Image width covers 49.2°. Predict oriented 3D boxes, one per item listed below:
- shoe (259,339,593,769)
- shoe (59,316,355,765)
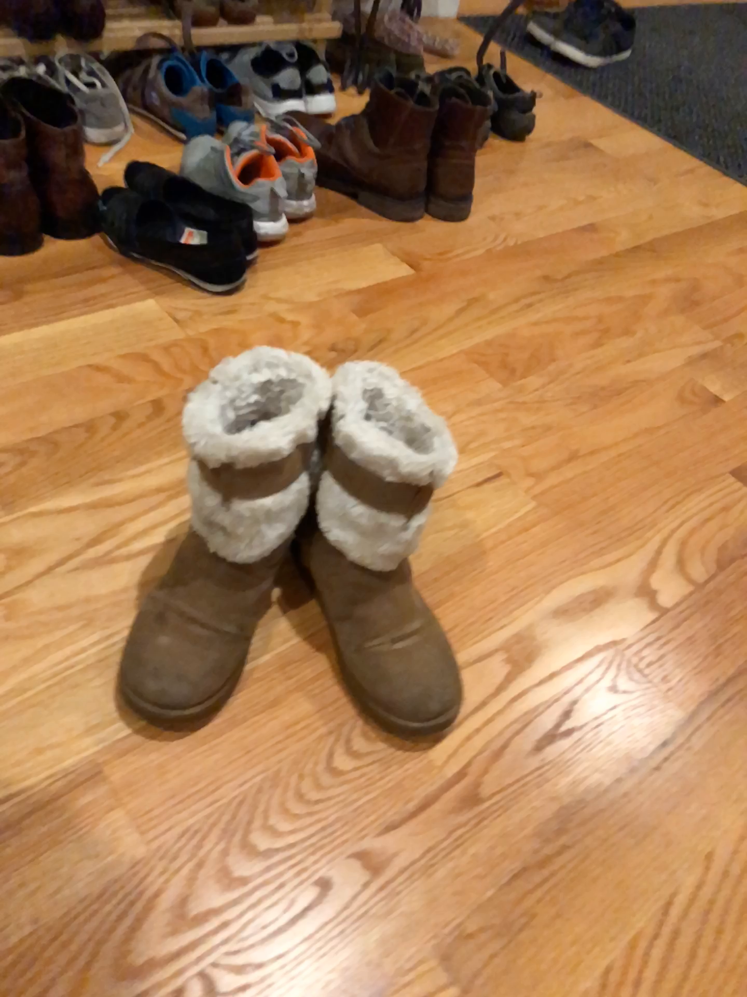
[{"bbox_3d":[0.018,0.036,0.641,0.113,0.193,0.255,-13,51,-26],"label":"shoe"},{"bbox_3d":[-0.114,0.025,0.613,0.106,0.193,0.255,18,45,2],"label":"shoe"}]
